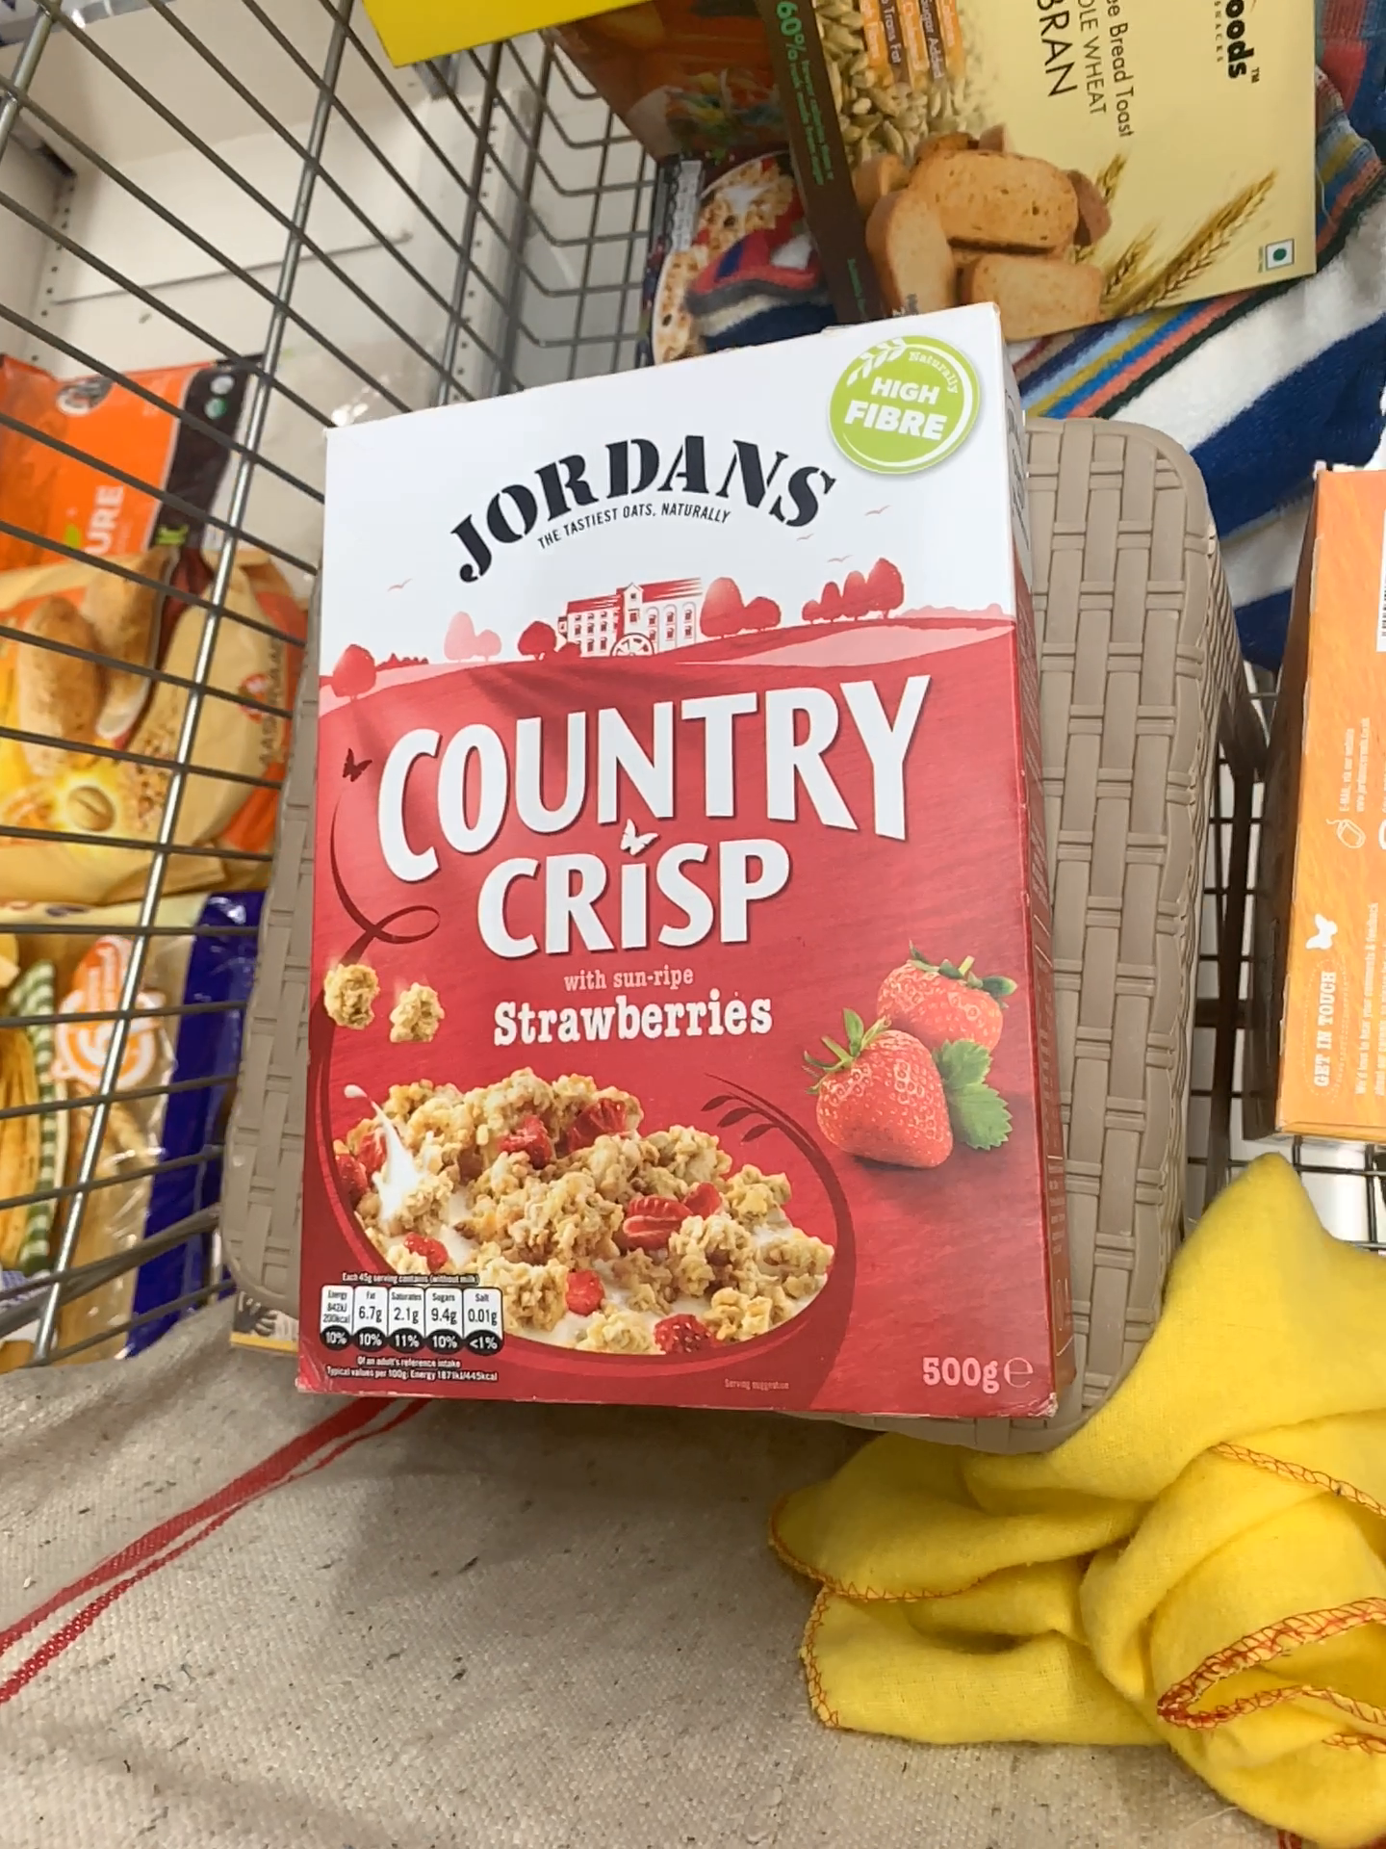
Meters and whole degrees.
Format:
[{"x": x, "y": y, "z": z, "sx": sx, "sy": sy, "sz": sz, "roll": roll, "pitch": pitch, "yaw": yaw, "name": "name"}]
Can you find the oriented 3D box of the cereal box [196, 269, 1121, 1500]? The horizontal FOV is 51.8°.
[{"x": -0.007, "y": -0.004, "z": 0.320, "sx": 0.180, "sy": 0.070, "sz": 0.230, "roll": -4, "pitch": 78, "yaw": 18, "name": "cereal box"}]
